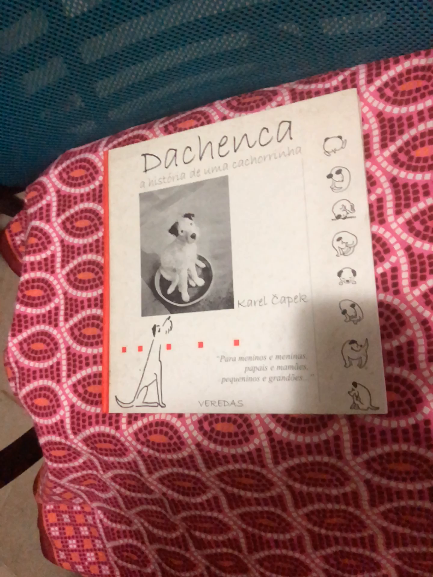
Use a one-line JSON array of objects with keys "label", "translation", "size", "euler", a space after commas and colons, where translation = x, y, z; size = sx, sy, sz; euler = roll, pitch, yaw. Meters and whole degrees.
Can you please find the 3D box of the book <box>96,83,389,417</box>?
[{"label": "book", "translation": [0.006, -0.019, 0.351], "size": [0.206, 0.027, 0.216], "euler": [-6, 78, 22]}]
